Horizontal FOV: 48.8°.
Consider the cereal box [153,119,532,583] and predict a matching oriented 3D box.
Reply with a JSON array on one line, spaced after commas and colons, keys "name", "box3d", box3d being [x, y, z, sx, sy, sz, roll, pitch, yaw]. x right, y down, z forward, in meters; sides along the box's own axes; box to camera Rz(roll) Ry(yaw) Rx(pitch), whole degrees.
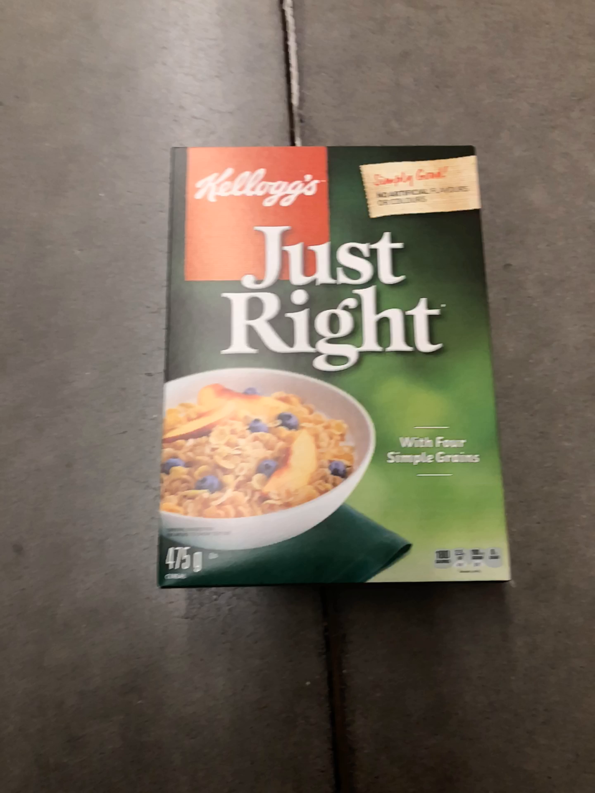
[{"name": "cereal box", "box3d": [0.023, -0.033, 0.427, 0.210, 0.060, 0.290, -1, 77, 0]}]
